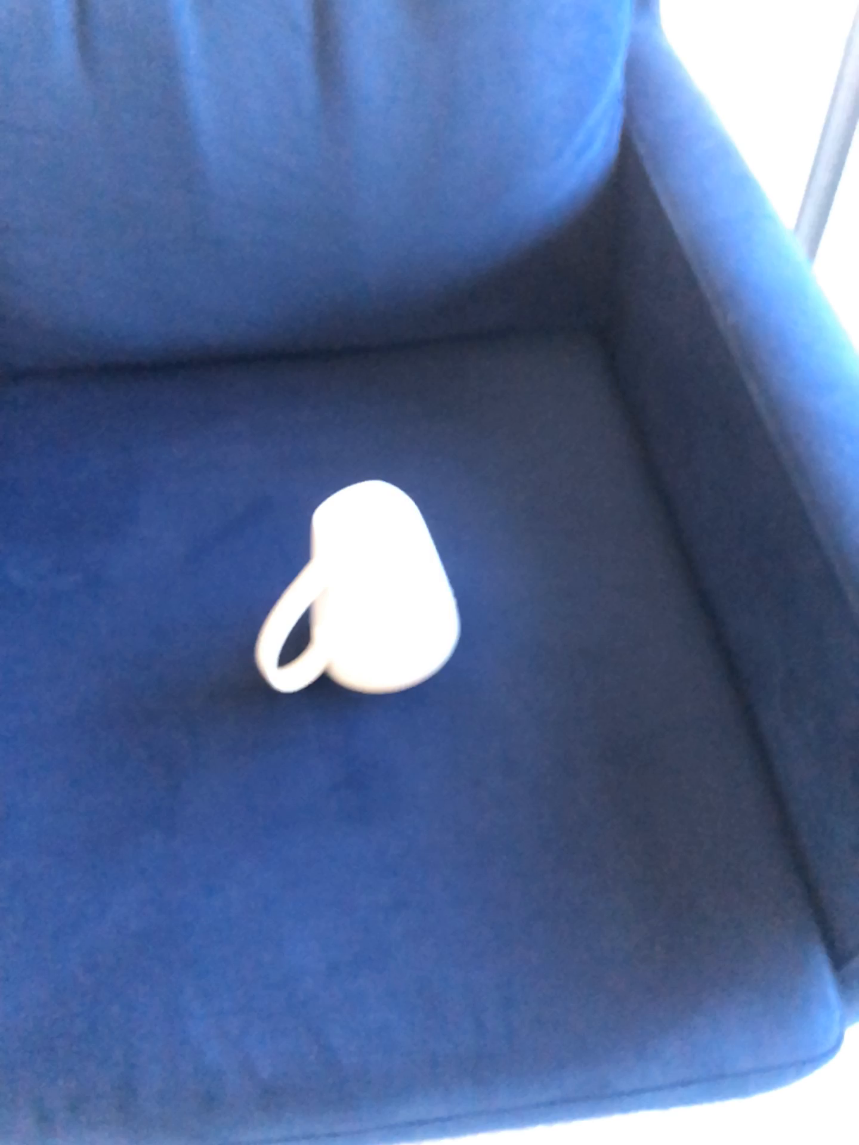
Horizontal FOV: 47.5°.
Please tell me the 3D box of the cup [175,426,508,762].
[{"bbox_3d":[-0.047,0.009,0.579,0.150,0.090,0.110,-34,57,-21],"label":"cup"}]
